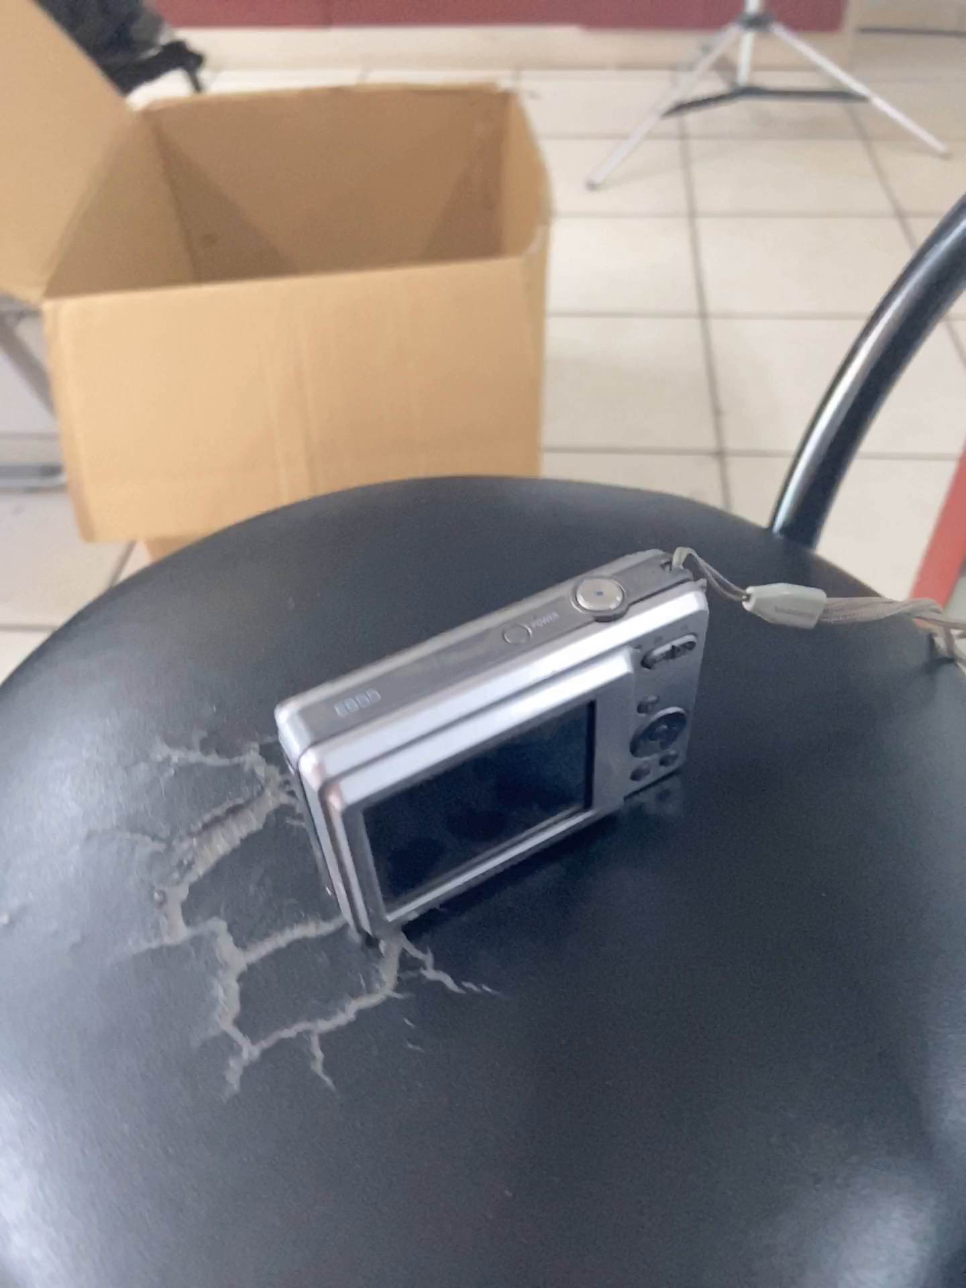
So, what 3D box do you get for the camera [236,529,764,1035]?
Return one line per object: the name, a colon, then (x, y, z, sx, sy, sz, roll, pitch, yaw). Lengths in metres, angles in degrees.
camera: (0.005, 0.029, 0.212, 0.090, 0.070, 0.040, -22, 49, -18)
